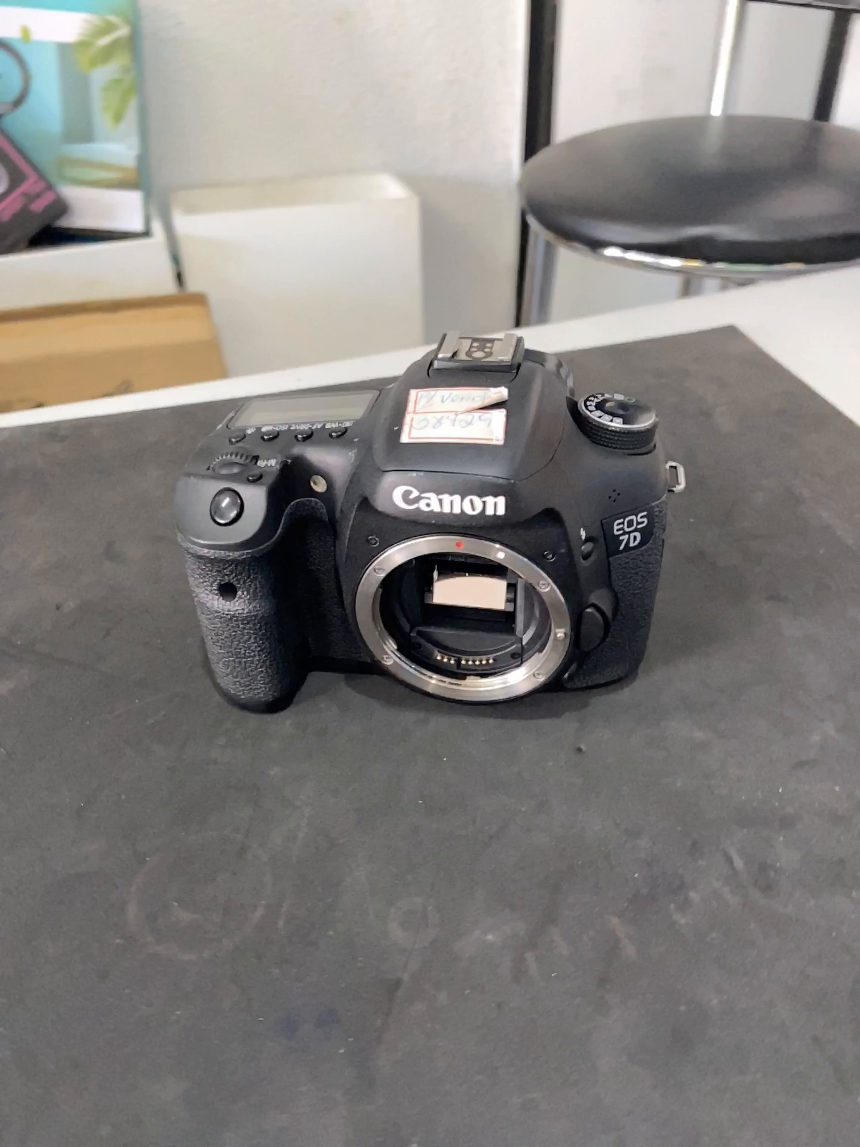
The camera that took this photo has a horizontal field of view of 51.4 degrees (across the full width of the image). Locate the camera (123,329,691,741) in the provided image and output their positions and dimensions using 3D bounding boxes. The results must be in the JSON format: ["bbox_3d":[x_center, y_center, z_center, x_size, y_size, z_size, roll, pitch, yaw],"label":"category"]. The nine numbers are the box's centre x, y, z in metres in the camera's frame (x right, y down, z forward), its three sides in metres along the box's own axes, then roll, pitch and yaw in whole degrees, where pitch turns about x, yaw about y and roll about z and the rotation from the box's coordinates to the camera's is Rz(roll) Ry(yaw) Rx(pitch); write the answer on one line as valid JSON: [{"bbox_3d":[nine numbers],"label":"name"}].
[{"bbox_3d":[-0.001,-0.015,0.298,0.152,0.101,0.083,3,38,8],"label":"camera"}]
